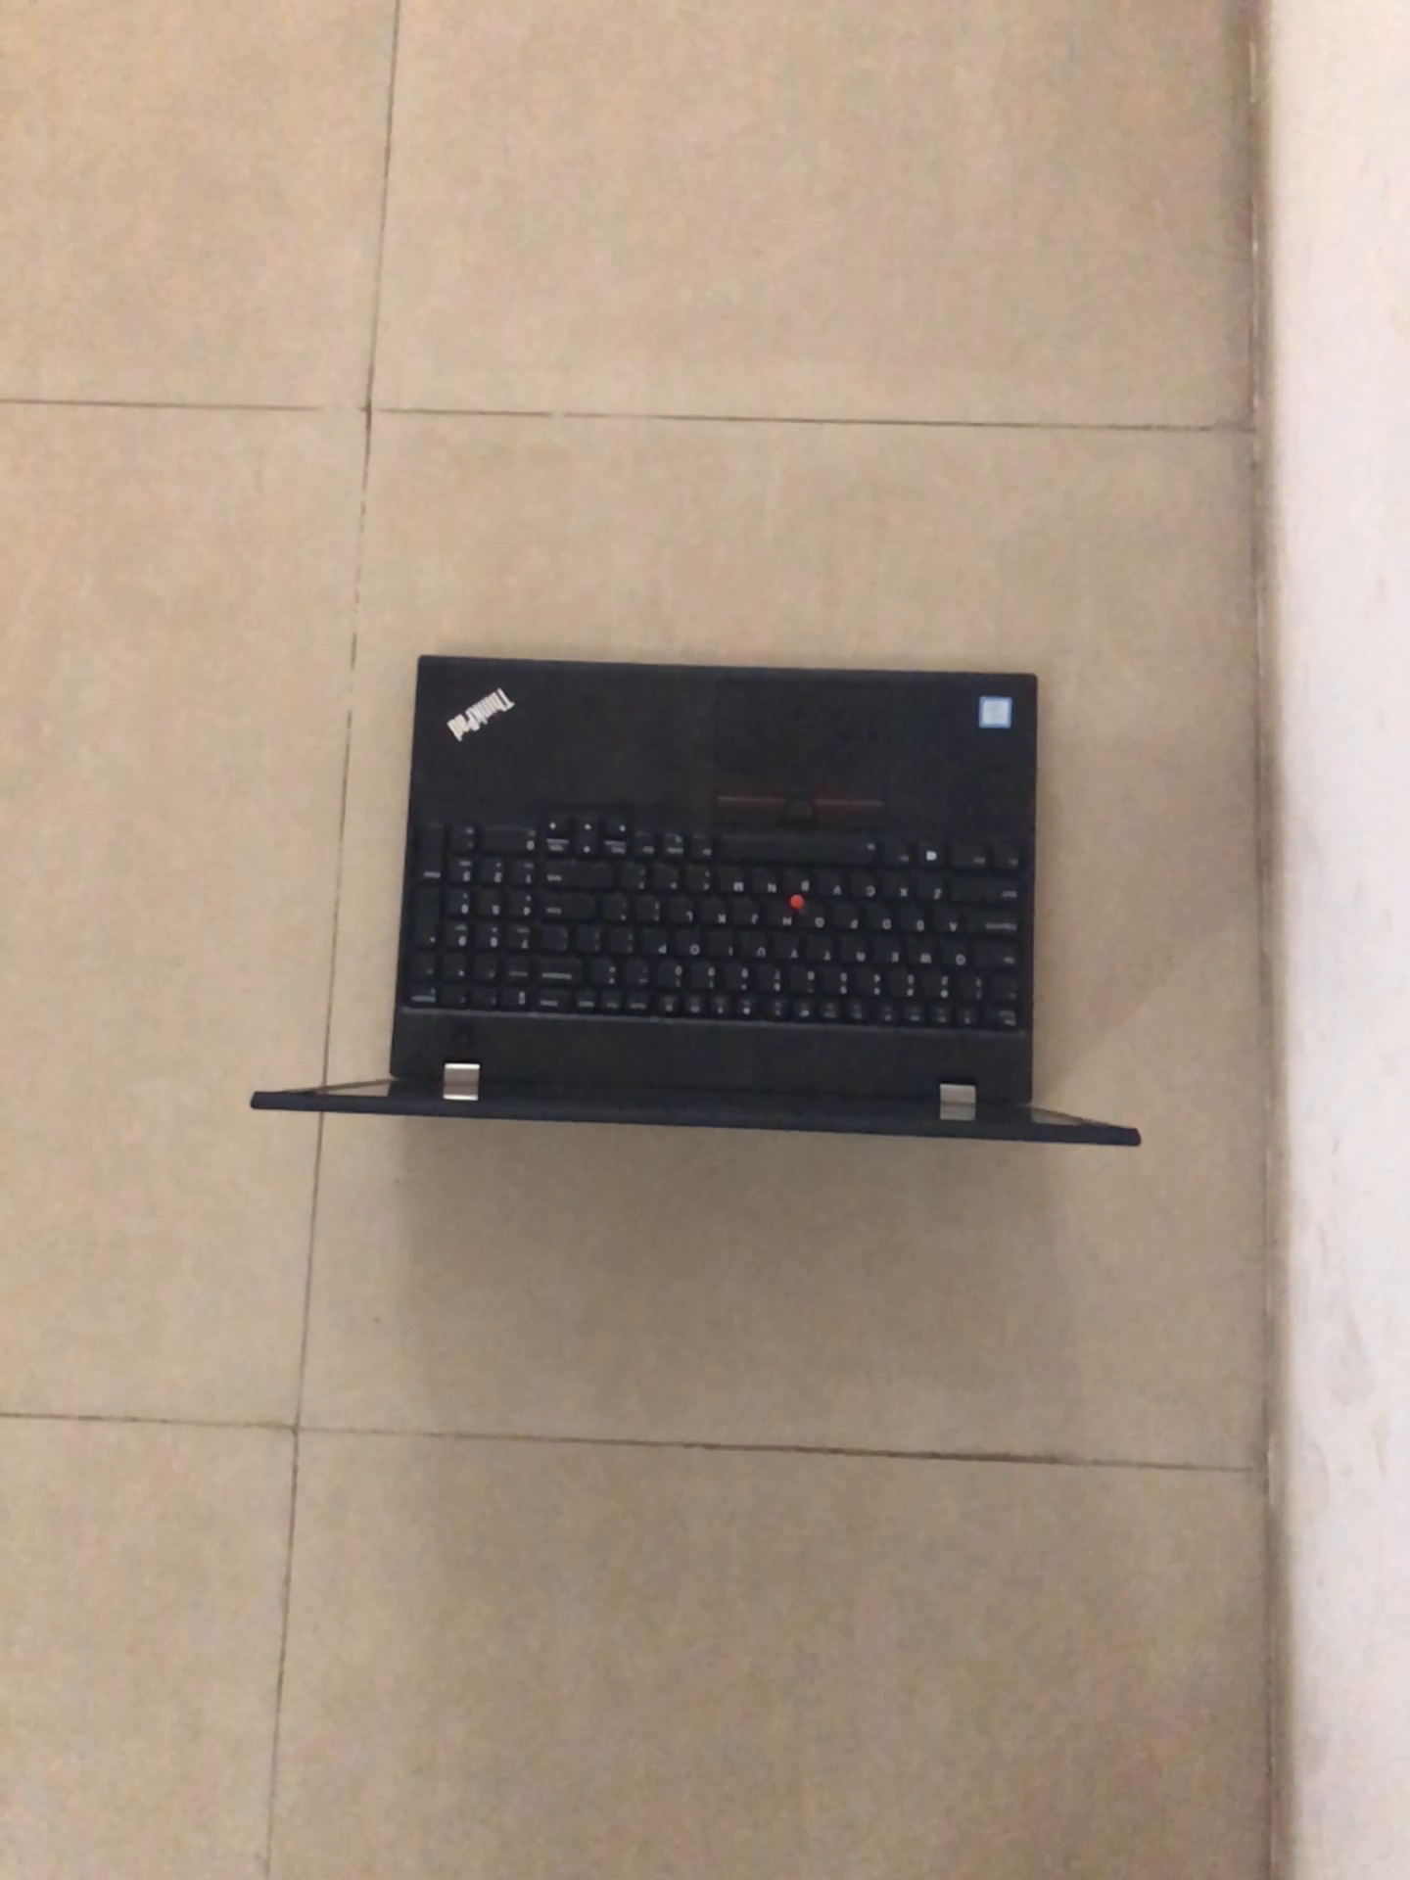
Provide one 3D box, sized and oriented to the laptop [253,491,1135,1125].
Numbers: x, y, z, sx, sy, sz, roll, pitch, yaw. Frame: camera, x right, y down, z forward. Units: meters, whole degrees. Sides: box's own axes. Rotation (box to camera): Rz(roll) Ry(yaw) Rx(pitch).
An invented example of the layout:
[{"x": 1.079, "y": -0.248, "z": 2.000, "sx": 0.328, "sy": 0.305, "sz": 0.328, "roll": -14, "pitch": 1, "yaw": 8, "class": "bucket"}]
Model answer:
[{"x": 0.002, "y": -0.044, "z": 0.766, "sx": 0.353, "sy": 0.241, "sz": 0.255, "roll": 3, "pitch": 83, "yaw": 1, "class": "laptop"}]
